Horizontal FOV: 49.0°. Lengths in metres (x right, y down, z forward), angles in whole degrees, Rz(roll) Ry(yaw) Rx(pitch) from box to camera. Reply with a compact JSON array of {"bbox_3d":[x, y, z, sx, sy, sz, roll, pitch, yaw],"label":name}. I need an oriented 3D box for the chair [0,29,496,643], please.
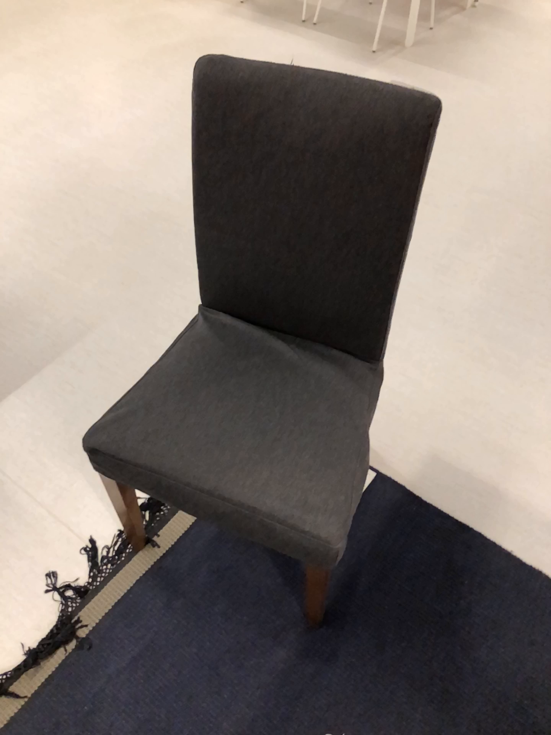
[{"bbox_3d":[-0.032,0.006,1.173,0.541,0.964,0.553,19,53,16],"label":"chair"}]
